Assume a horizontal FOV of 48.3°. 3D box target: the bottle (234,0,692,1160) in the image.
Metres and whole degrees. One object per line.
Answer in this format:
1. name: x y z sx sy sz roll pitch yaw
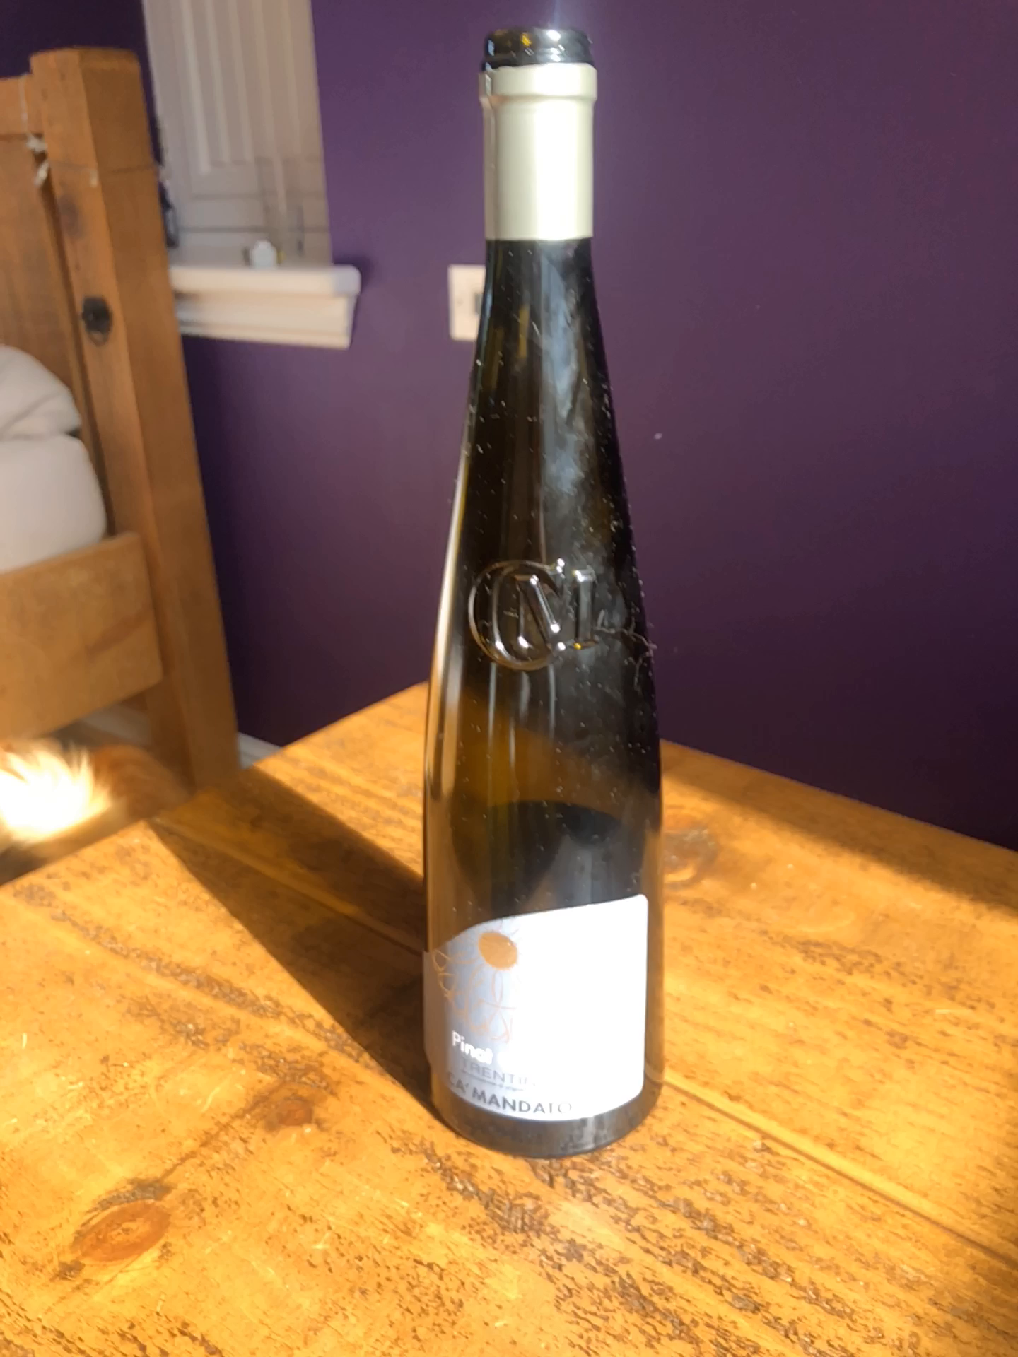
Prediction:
1. bottle: 0.000 -0.021 0.359 0.100 0.338 0.101 -1 23 1
